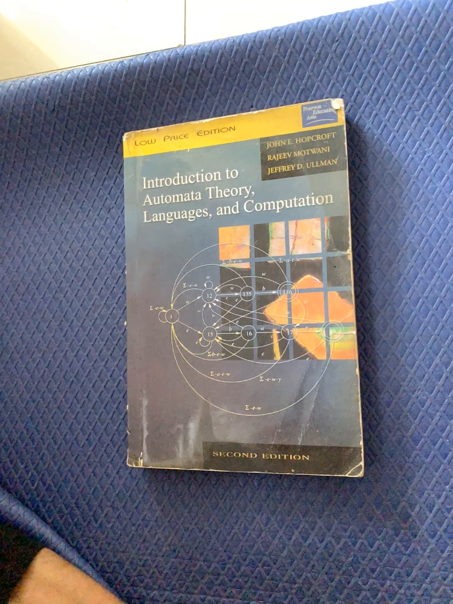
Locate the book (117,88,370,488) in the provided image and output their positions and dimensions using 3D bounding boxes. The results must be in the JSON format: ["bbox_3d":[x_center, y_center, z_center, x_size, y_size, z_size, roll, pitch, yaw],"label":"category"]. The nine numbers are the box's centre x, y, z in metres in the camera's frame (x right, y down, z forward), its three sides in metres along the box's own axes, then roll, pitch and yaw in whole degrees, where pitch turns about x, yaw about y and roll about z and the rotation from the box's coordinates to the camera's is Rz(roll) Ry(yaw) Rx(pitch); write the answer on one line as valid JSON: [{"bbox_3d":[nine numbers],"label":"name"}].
[{"bbox_3d":[0.008,-0.006,0.311,0.150,0.050,0.230,-4,83,16],"label":"book"}]
